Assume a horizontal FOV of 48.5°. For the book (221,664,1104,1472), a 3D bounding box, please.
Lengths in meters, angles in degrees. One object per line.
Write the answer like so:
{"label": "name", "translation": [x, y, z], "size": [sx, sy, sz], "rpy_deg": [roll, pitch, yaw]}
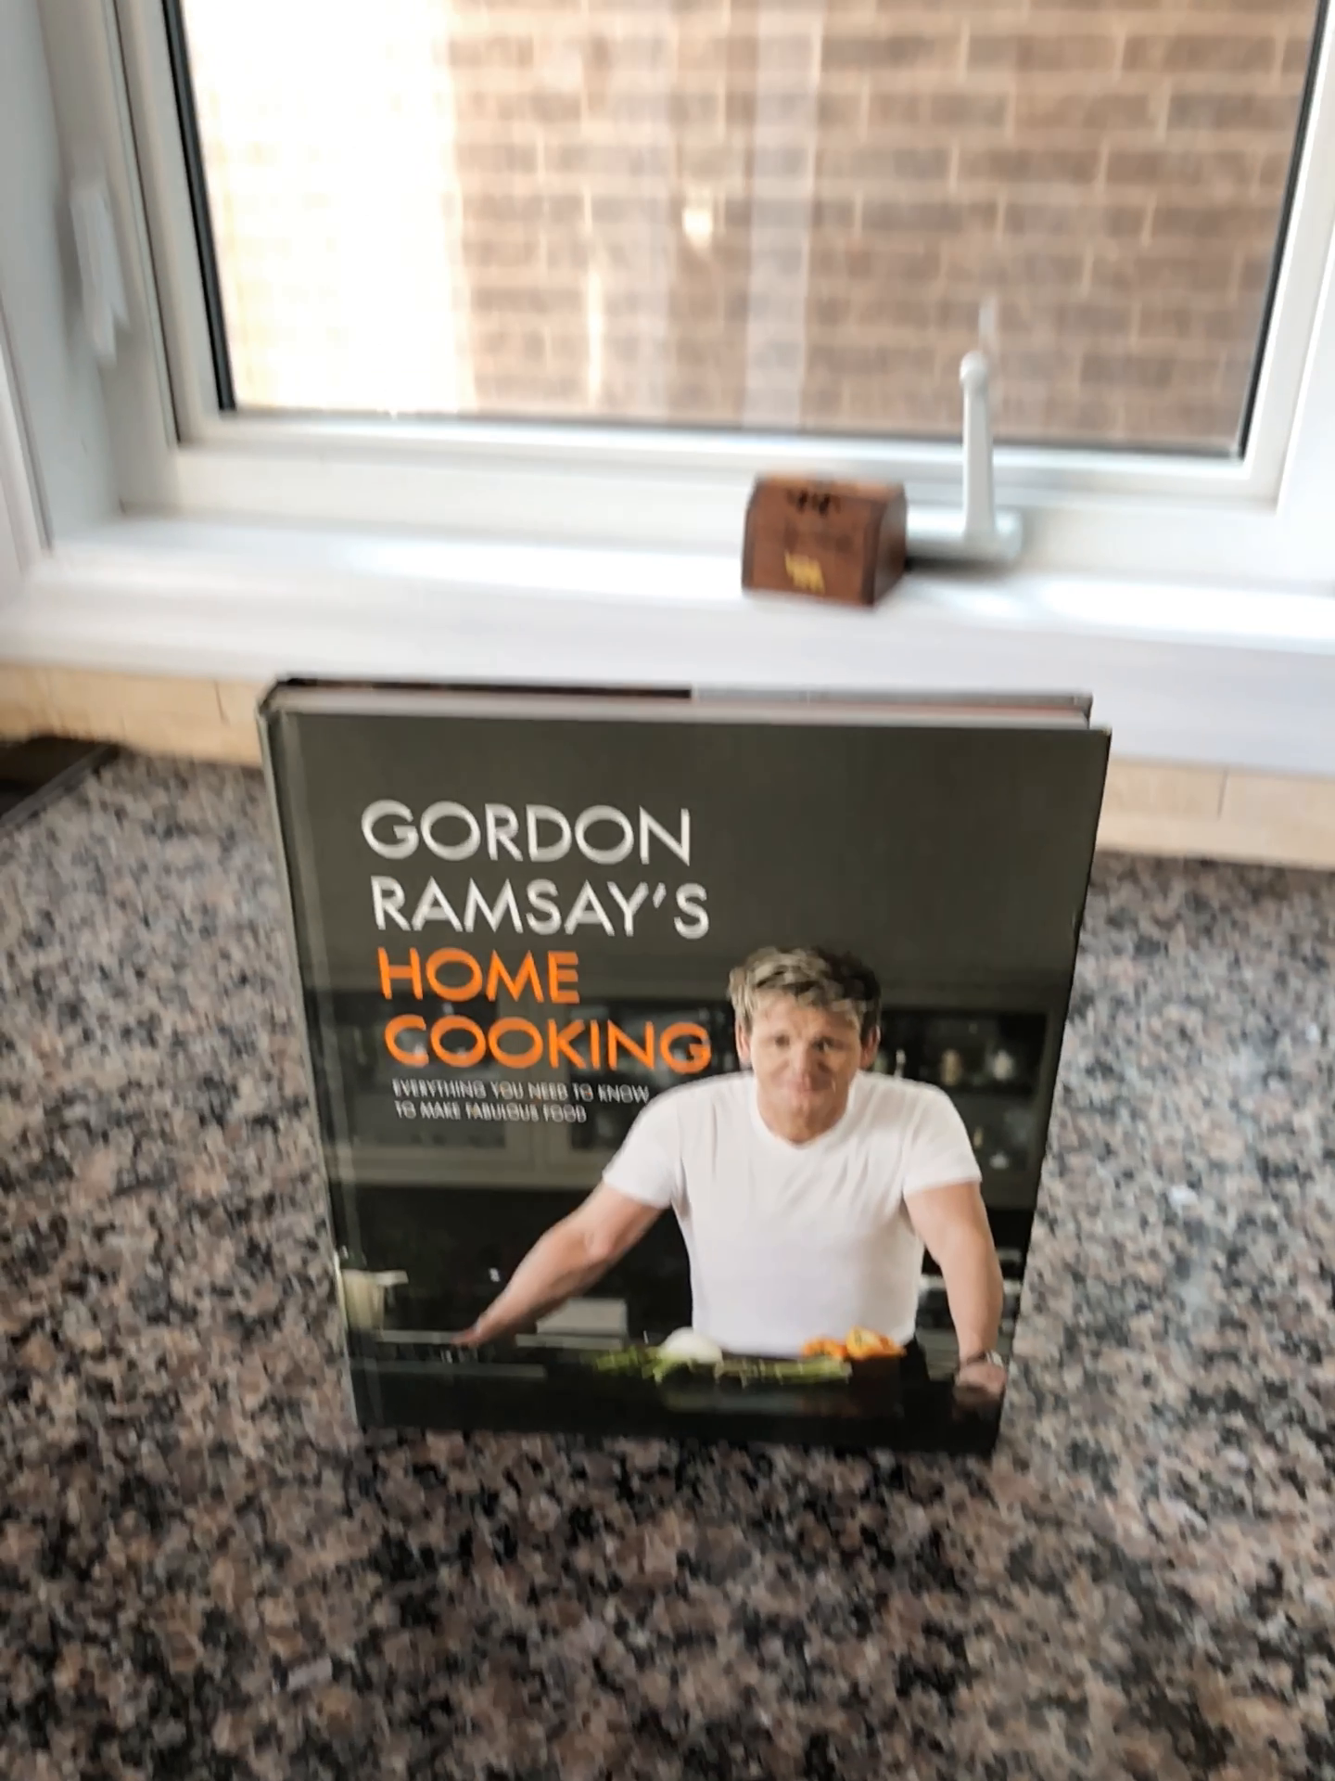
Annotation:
{"label": "book", "translation": [-0.002, 0.065, 0.438], "size": [0.217, 0.261, 0.028], "rpy_deg": [2, 29, 3]}
